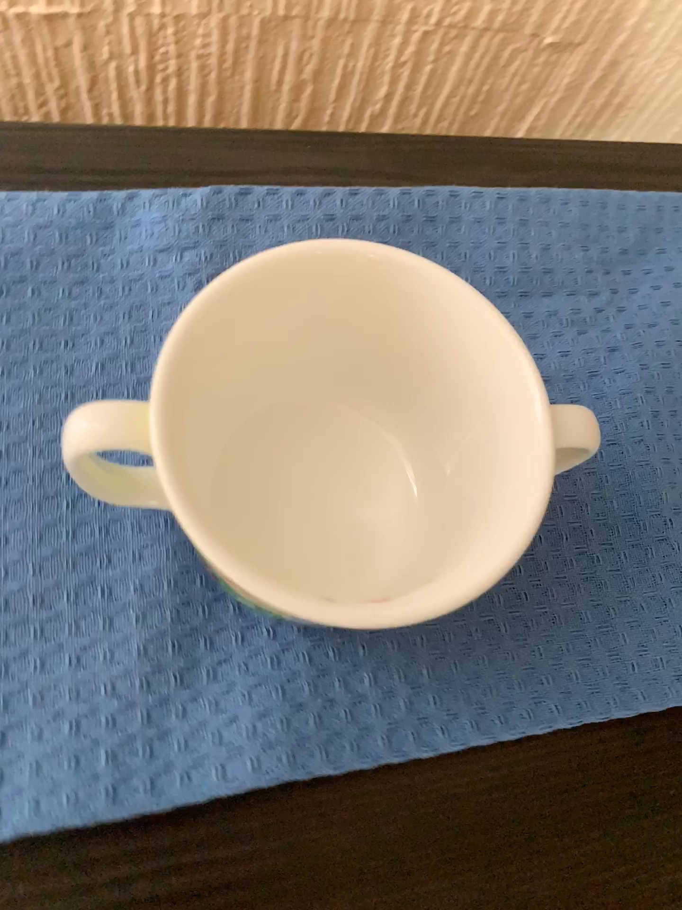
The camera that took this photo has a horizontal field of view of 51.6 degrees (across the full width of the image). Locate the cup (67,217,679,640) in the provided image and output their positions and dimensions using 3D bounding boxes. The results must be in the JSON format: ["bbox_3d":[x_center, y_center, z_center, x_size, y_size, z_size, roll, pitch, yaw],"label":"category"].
[{"bbox_3d":[0.000,-0.004,0.178,0.120,0.070,0.080,-3,72,-13],"label":"cup"}]
